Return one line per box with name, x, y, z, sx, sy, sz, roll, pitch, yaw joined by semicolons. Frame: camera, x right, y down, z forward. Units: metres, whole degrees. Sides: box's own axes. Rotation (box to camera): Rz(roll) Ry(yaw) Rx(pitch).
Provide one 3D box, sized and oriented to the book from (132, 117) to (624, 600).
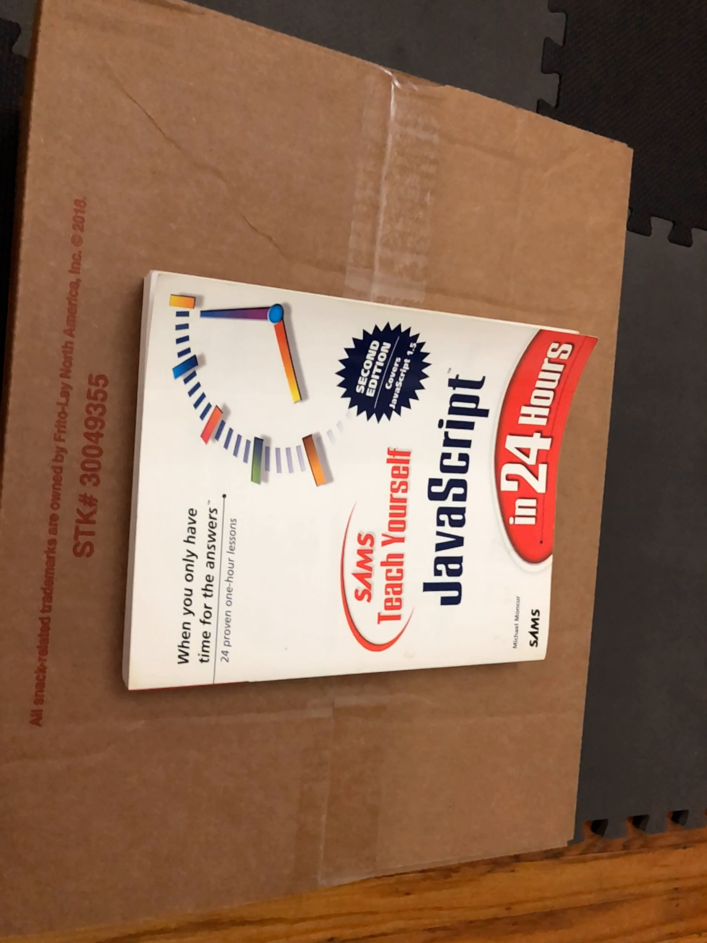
book;0.022;-0.042;0.385;0.241;0.030;0.200;3;92;-23
